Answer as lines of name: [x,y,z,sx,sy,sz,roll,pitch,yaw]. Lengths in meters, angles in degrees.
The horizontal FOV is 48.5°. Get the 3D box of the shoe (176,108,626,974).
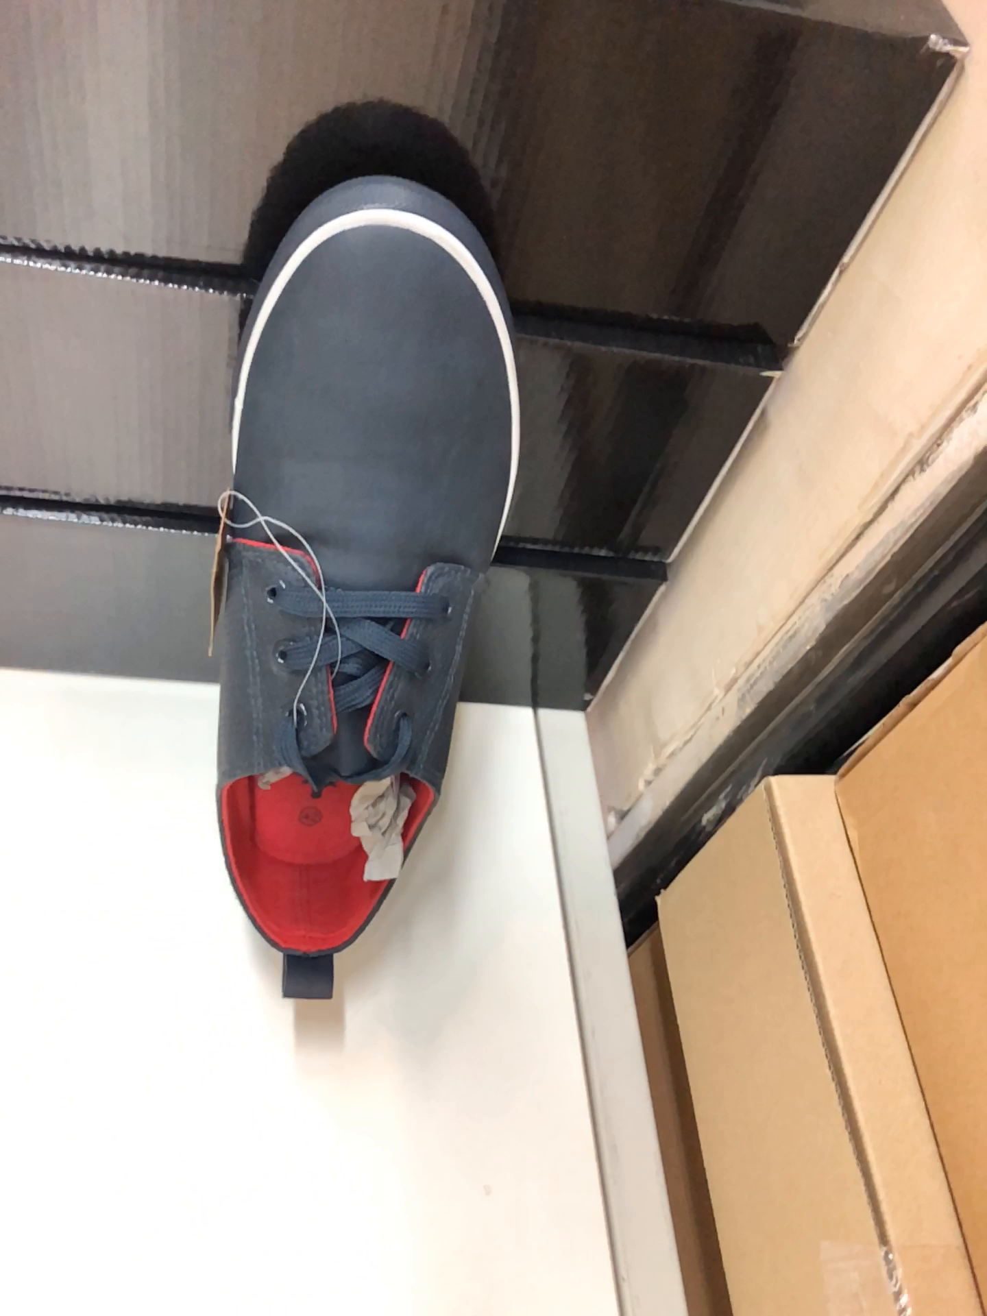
shoe: [-0.043,-0.028,0.379,0.103,0.268,0.101,7,30,-8]
